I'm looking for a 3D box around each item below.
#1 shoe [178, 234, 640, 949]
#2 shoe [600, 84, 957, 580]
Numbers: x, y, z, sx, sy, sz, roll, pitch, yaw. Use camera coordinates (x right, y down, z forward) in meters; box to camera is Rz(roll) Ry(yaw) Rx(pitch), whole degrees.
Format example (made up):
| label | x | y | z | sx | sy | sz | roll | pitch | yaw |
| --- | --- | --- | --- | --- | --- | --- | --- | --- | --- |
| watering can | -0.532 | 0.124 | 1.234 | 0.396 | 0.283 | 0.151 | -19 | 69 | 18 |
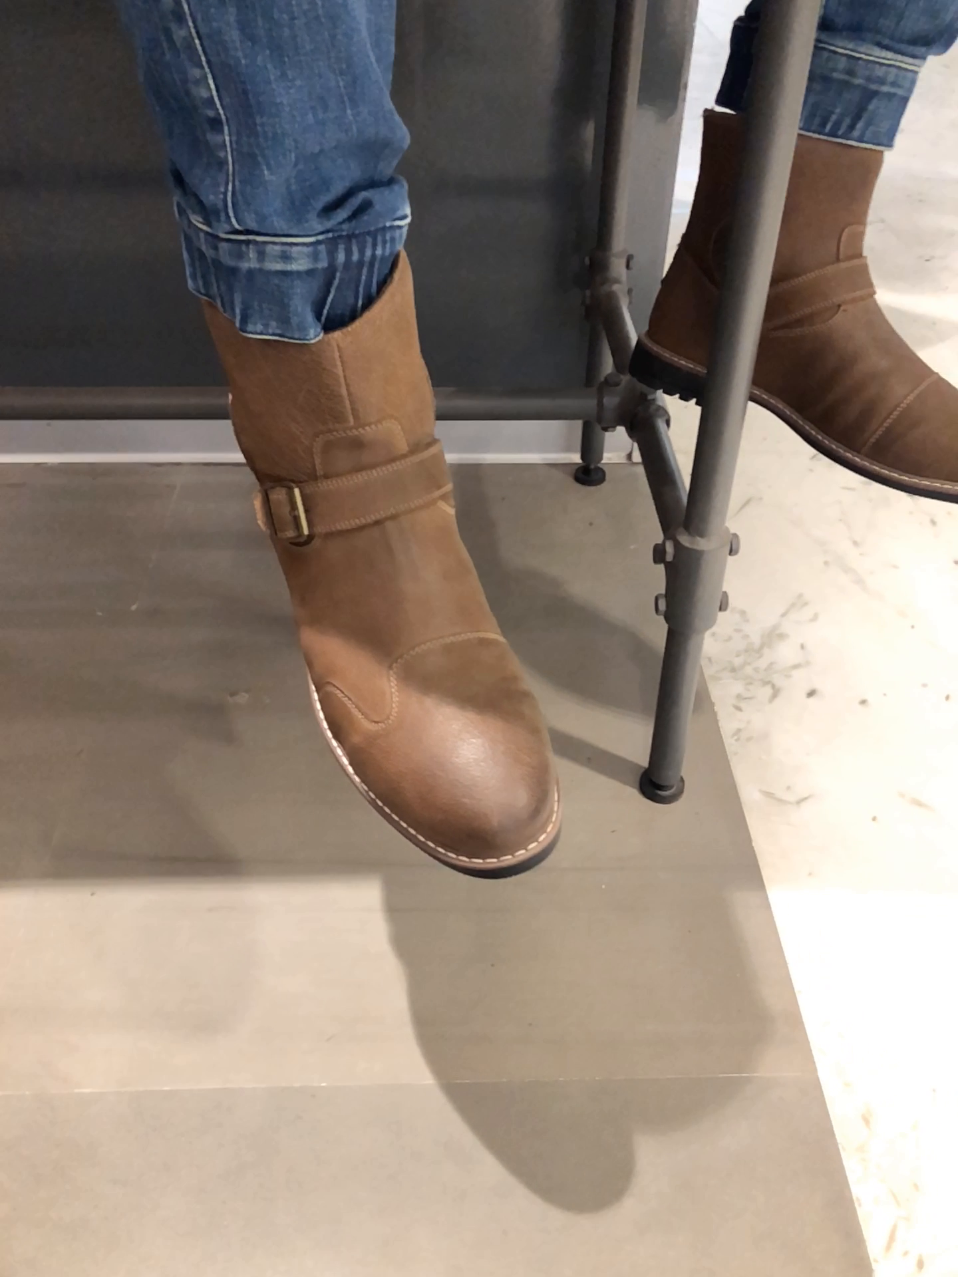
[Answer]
| label | x | y | z | sx | sy | sz | roll | pitch | yaw |
| --- | --- | --- | --- | --- | --- | --- | --- | --- | --- |
| shoe | -0.042 | -0.036 | 0.513 | 0.109 | 0.206 | 0.275 | -18 | 45 | -15 |
| shoe | 0.275 | -0.219 | 0.719 | 0.324 | 0.206 | 0.114 | 31 | 37 | 22 |
